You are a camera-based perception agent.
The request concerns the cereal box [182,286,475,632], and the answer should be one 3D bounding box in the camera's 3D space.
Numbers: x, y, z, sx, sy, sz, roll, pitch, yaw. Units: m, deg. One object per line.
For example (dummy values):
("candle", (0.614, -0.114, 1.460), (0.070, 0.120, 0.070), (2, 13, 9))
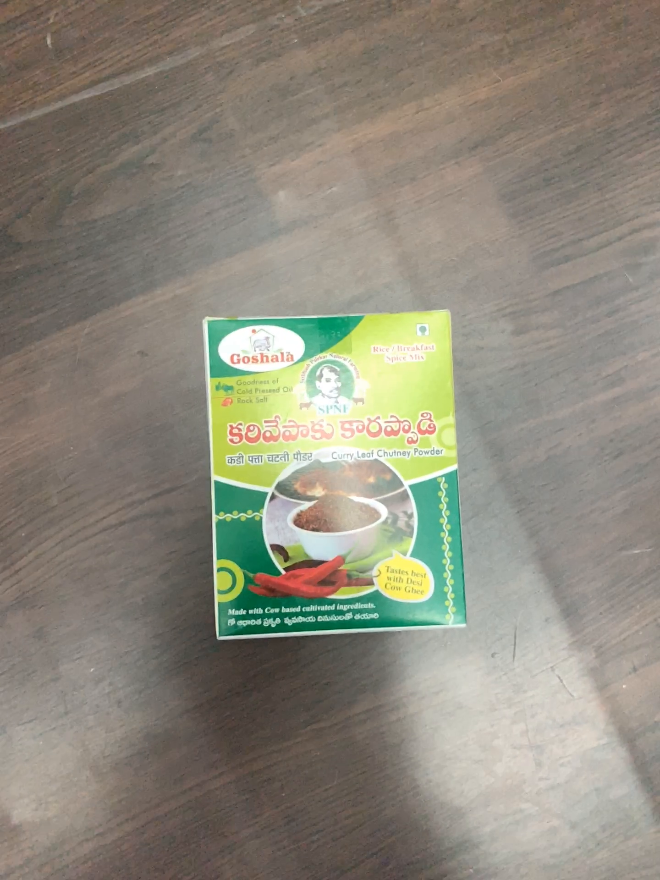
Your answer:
("cereal box", (-0.002, 0.007, 0.263), (0.100, 0.040, 0.120), (-2, 85, 0))
